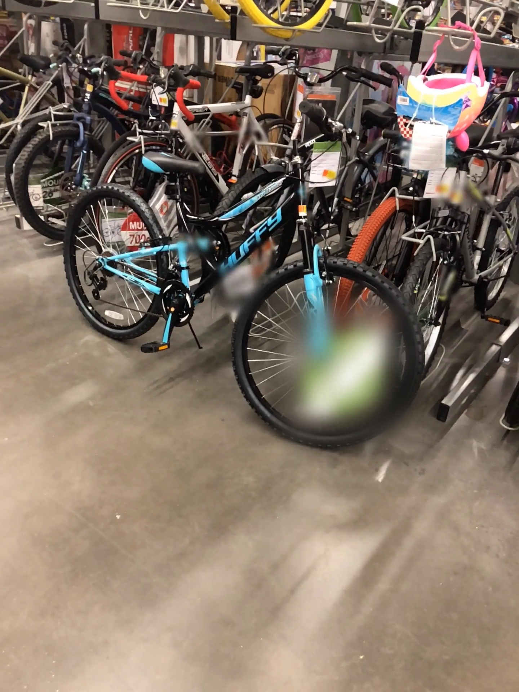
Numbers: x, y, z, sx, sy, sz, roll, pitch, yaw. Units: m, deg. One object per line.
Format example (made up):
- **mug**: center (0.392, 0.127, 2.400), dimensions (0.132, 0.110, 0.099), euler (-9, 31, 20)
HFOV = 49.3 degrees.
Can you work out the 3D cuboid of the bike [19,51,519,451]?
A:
- **bike**: center (-0.043, -0.471, 2.229), dimensions (1.708, 1.121, 0.546), euler (21, 34, 27)
